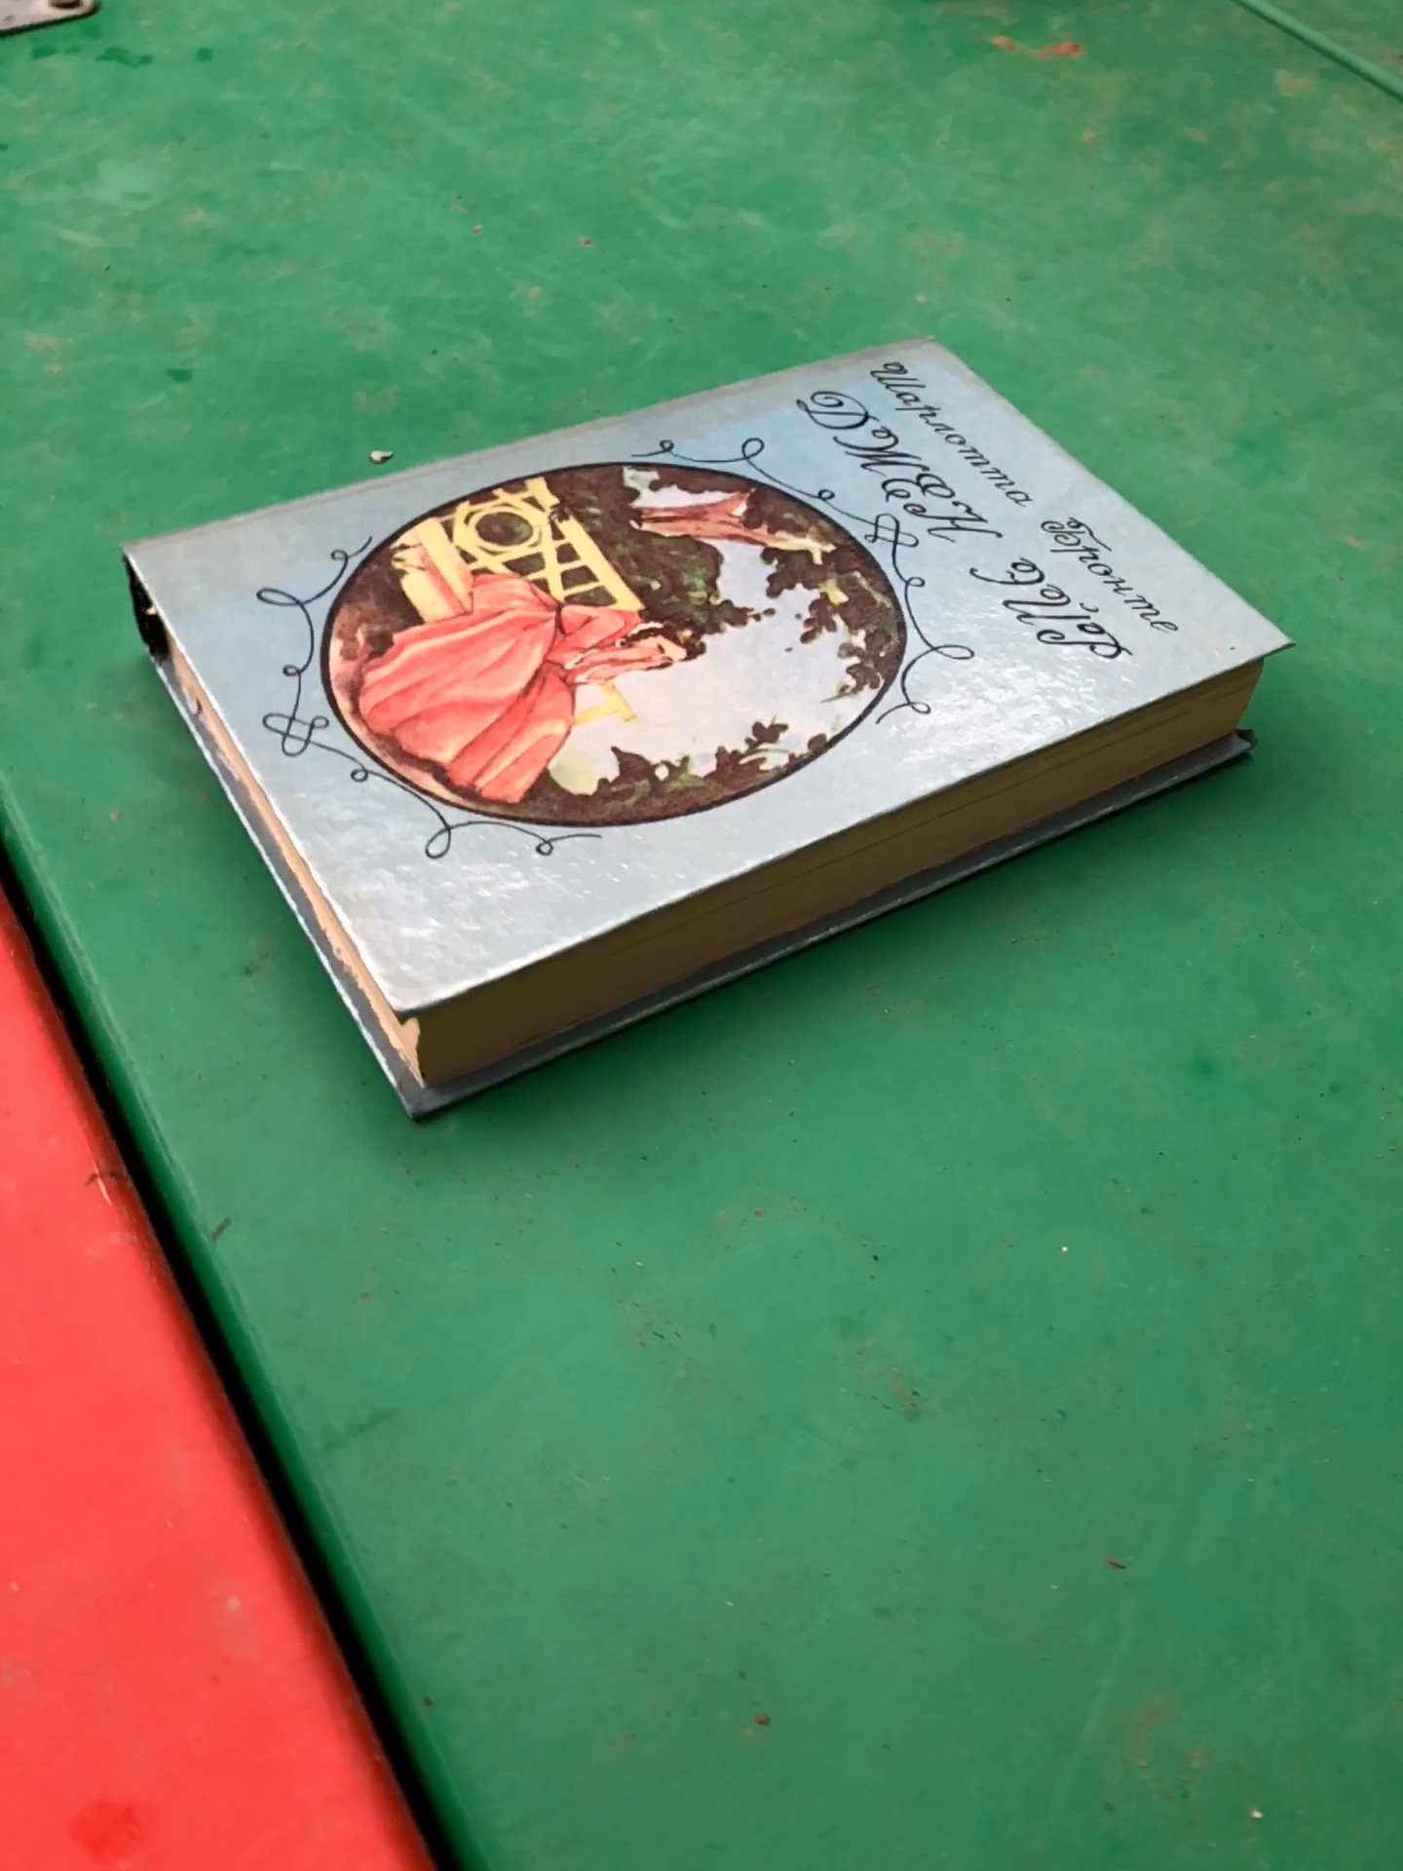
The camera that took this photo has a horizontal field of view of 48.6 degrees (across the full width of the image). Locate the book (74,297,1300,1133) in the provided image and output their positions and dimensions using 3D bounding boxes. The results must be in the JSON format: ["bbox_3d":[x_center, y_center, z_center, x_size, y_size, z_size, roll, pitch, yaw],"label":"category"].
[{"bbox_3d":[-0.002,-0.060,0.312,0.196,0.030,0.135,-24,58,-23],"label":"book"}]
